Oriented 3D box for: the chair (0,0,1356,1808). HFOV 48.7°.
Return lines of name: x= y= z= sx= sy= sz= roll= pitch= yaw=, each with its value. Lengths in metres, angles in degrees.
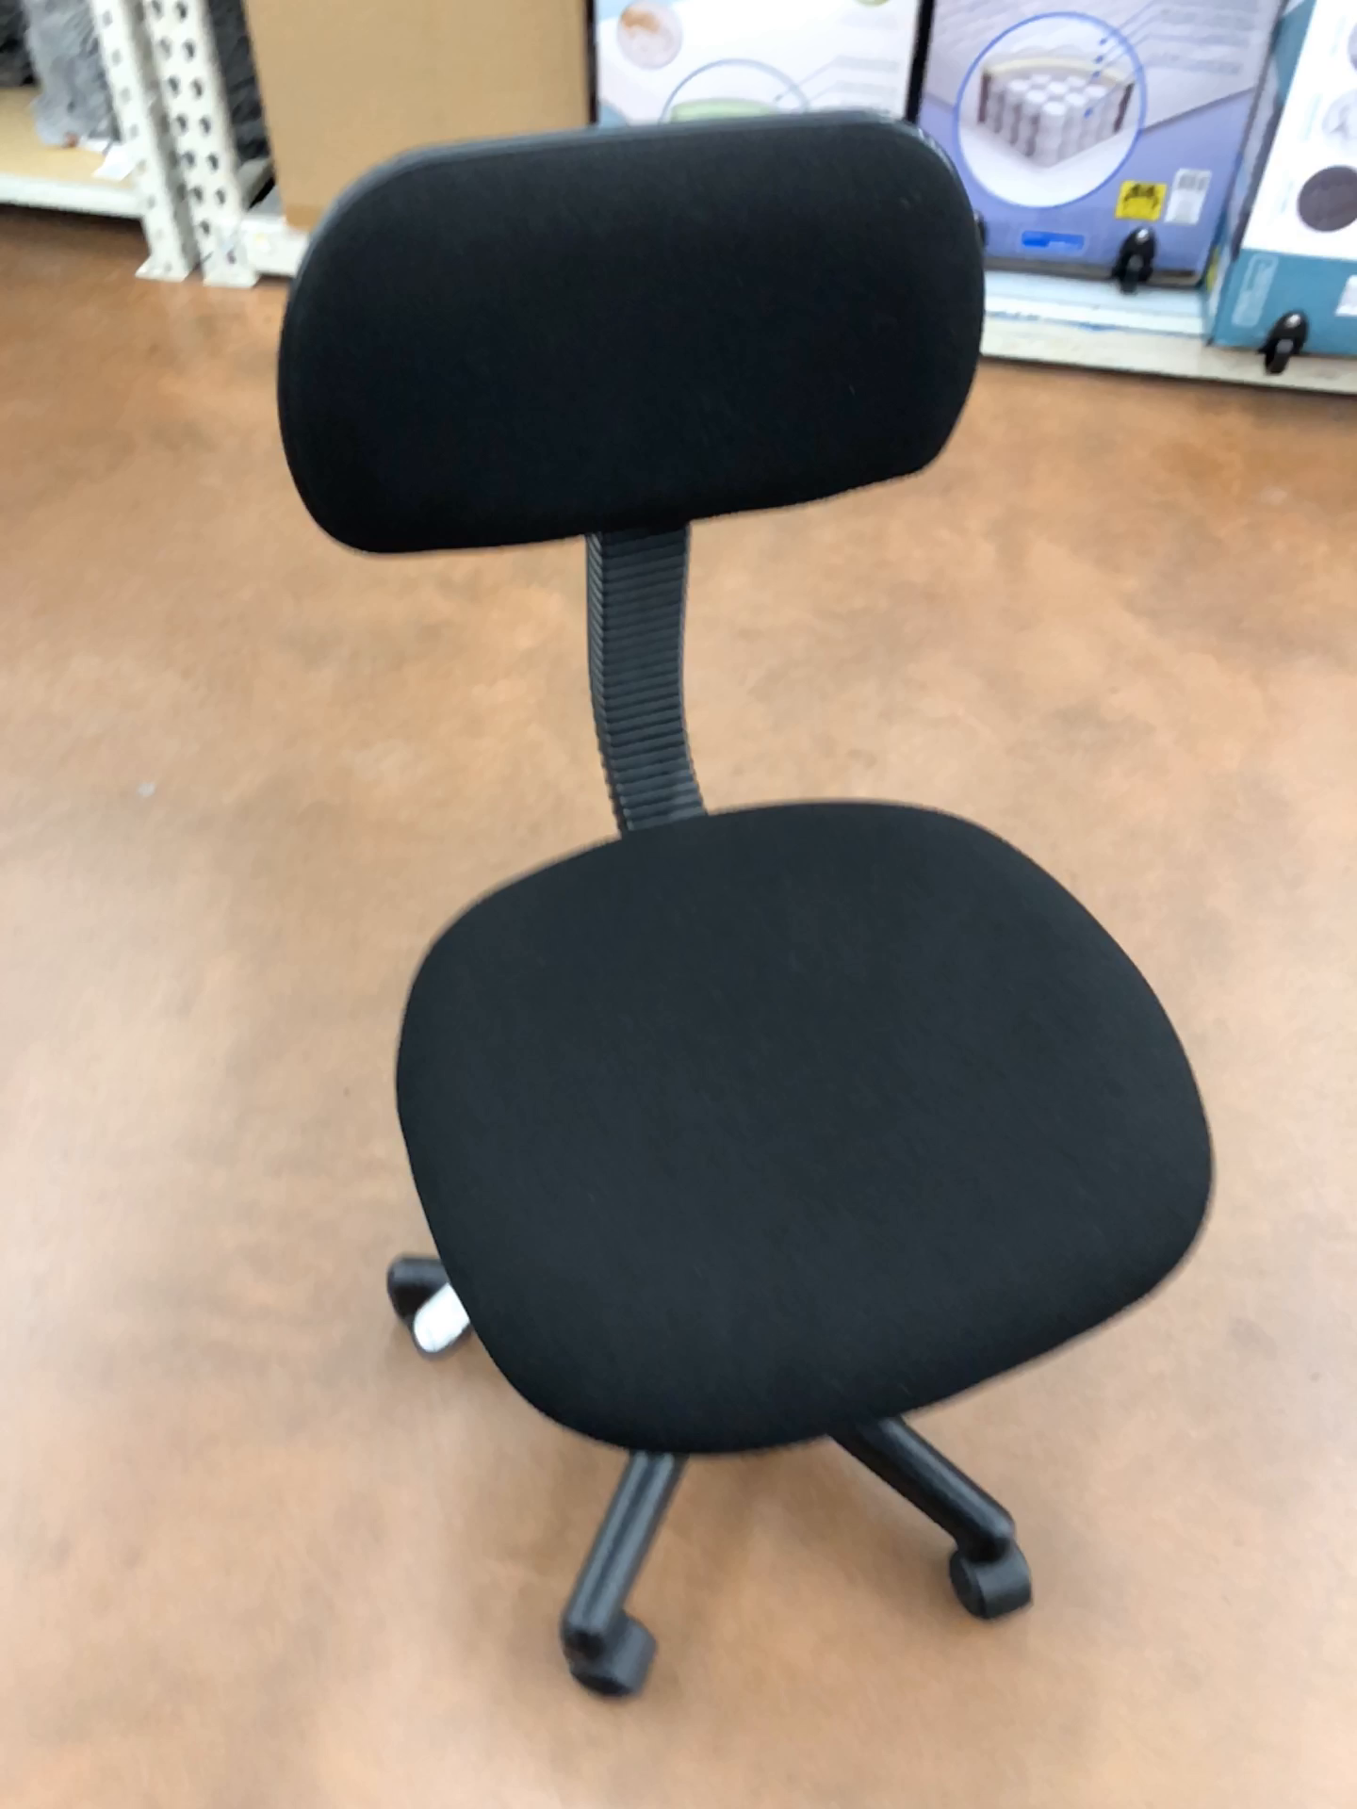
chair: x=0.051 y=0.019 z=0.904 sx=0.670 sy=0.797 sz=0.662 roll=-13 pitch=51 yaw=-12
